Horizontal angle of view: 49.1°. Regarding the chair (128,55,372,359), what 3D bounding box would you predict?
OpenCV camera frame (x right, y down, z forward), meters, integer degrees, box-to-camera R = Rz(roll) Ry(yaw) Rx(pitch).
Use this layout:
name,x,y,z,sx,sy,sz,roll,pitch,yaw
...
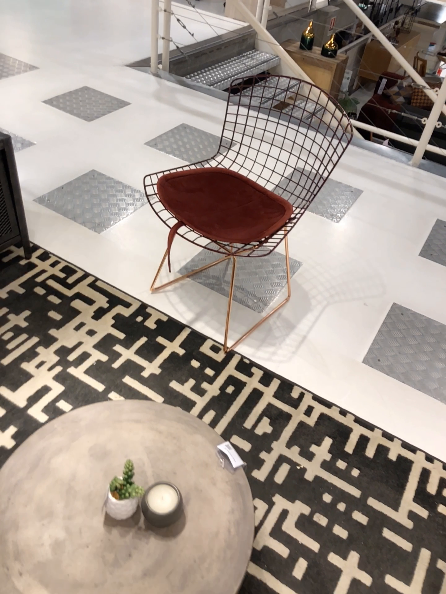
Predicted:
name,x,y,z,sx,sy,sz,roll,pitch,yaw
chair,0.040,-0.312,1.671,0.502,0.764,0.511,-30,54,-35
